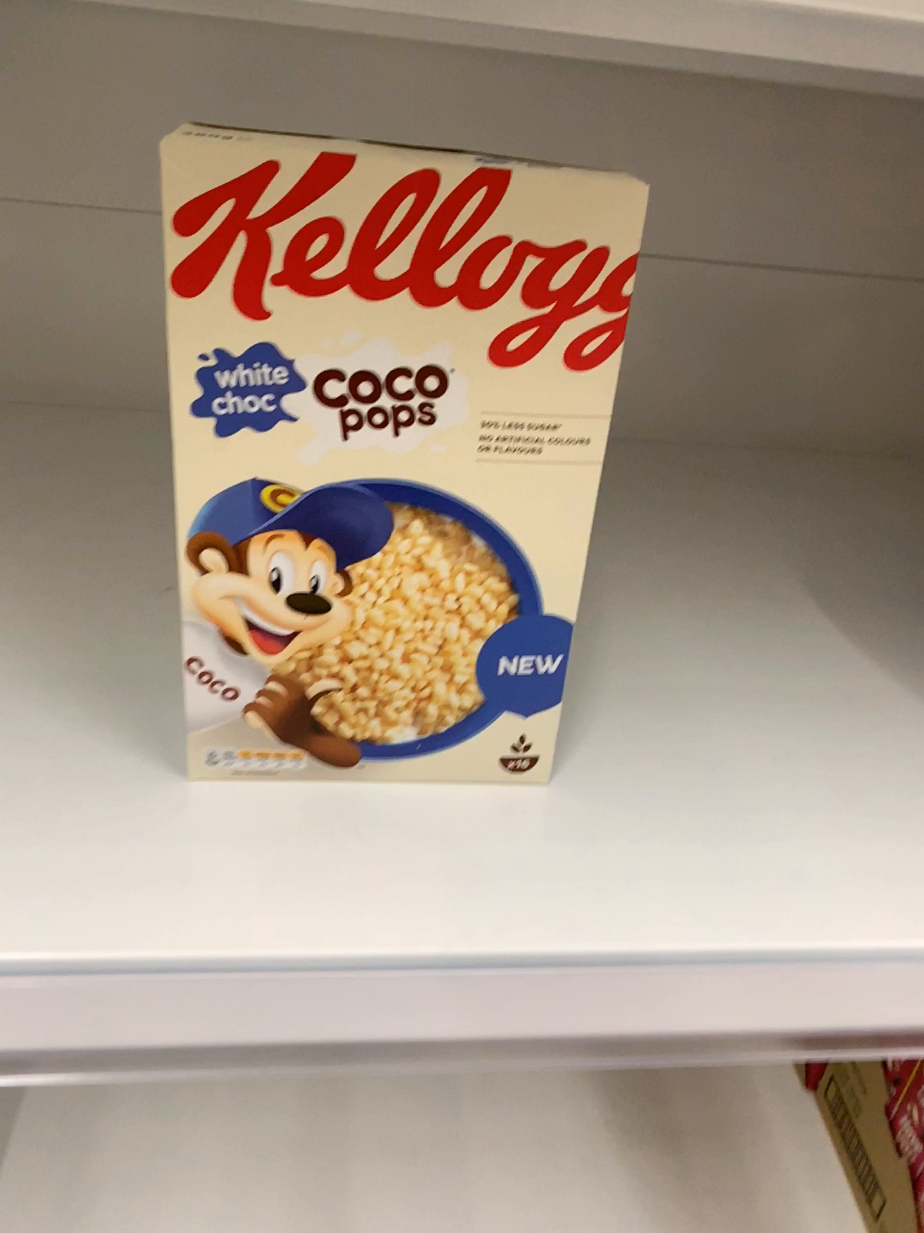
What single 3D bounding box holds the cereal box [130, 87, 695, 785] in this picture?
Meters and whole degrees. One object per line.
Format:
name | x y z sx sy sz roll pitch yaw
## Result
cereal box | -0.032 -0.067 0.448 0.210 0.297 0.071 3 26 -7
